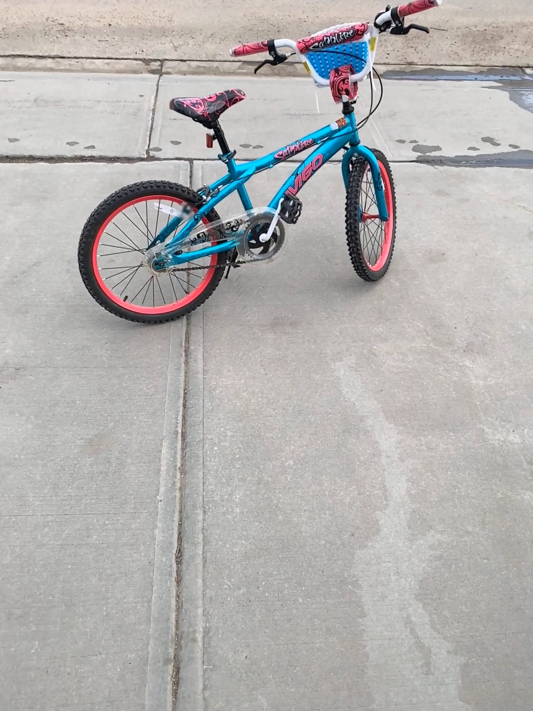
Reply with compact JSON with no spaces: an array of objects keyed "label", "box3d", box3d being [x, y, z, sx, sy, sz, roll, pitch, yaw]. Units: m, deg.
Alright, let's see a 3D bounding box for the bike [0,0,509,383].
[{"label":"bike","box3d":[-0.061,-0.727,1.830,1.256,0.946,0.747,-22,50,-20]}]
